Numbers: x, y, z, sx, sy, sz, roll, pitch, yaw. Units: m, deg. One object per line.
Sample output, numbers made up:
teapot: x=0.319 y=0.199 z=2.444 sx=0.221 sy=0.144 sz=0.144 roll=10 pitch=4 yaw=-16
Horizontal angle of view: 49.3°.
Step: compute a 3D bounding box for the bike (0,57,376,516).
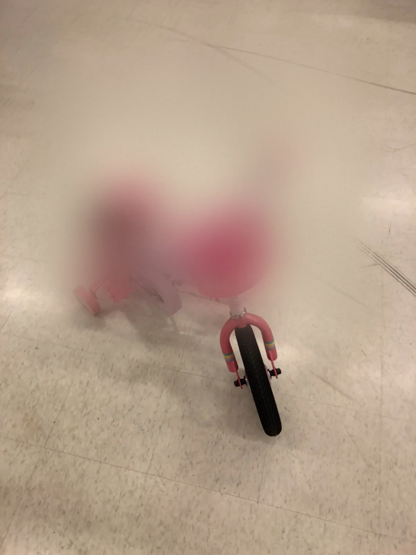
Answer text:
bike: x=-0.115 y=0.012 z=1.204 sx=0.457 sy=0.632 sz=0.881 roll=-33 pitch=62 yaw=-21
